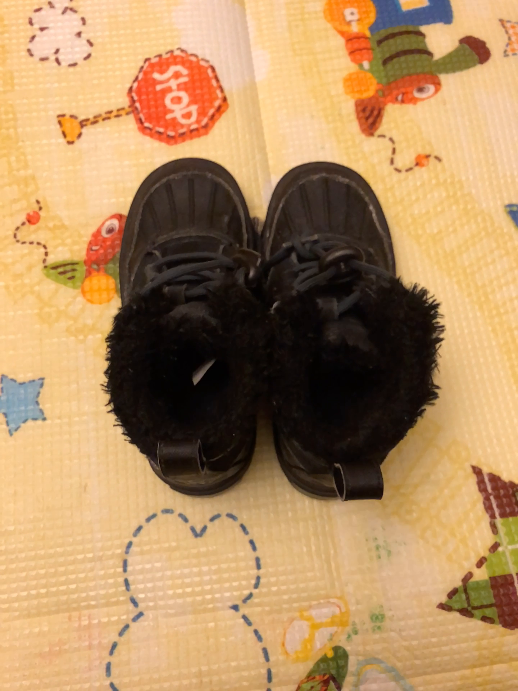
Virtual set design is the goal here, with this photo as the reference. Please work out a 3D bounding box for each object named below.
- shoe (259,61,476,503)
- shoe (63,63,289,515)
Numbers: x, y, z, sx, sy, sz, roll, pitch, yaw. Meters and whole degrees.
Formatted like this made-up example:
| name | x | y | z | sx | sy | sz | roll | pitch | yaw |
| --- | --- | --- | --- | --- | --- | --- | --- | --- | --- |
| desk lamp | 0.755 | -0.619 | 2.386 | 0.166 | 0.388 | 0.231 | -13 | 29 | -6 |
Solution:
| name | x | y | z | sx | sy | sz | roll | pitch | yaw |
| --- | --- | --- | --- | --- | --- | --- | --- | --- | --- |
| shoe | 0.048 | -0.027 | 0.326 | 0.090 | 0.110 | 0.220 | 1 | 76 | -1 |
| shoe | -0.039 | -0.021 | 0.315 | 0.090 | 0.120 | 0.210 | -2 | 76 | -2 |
